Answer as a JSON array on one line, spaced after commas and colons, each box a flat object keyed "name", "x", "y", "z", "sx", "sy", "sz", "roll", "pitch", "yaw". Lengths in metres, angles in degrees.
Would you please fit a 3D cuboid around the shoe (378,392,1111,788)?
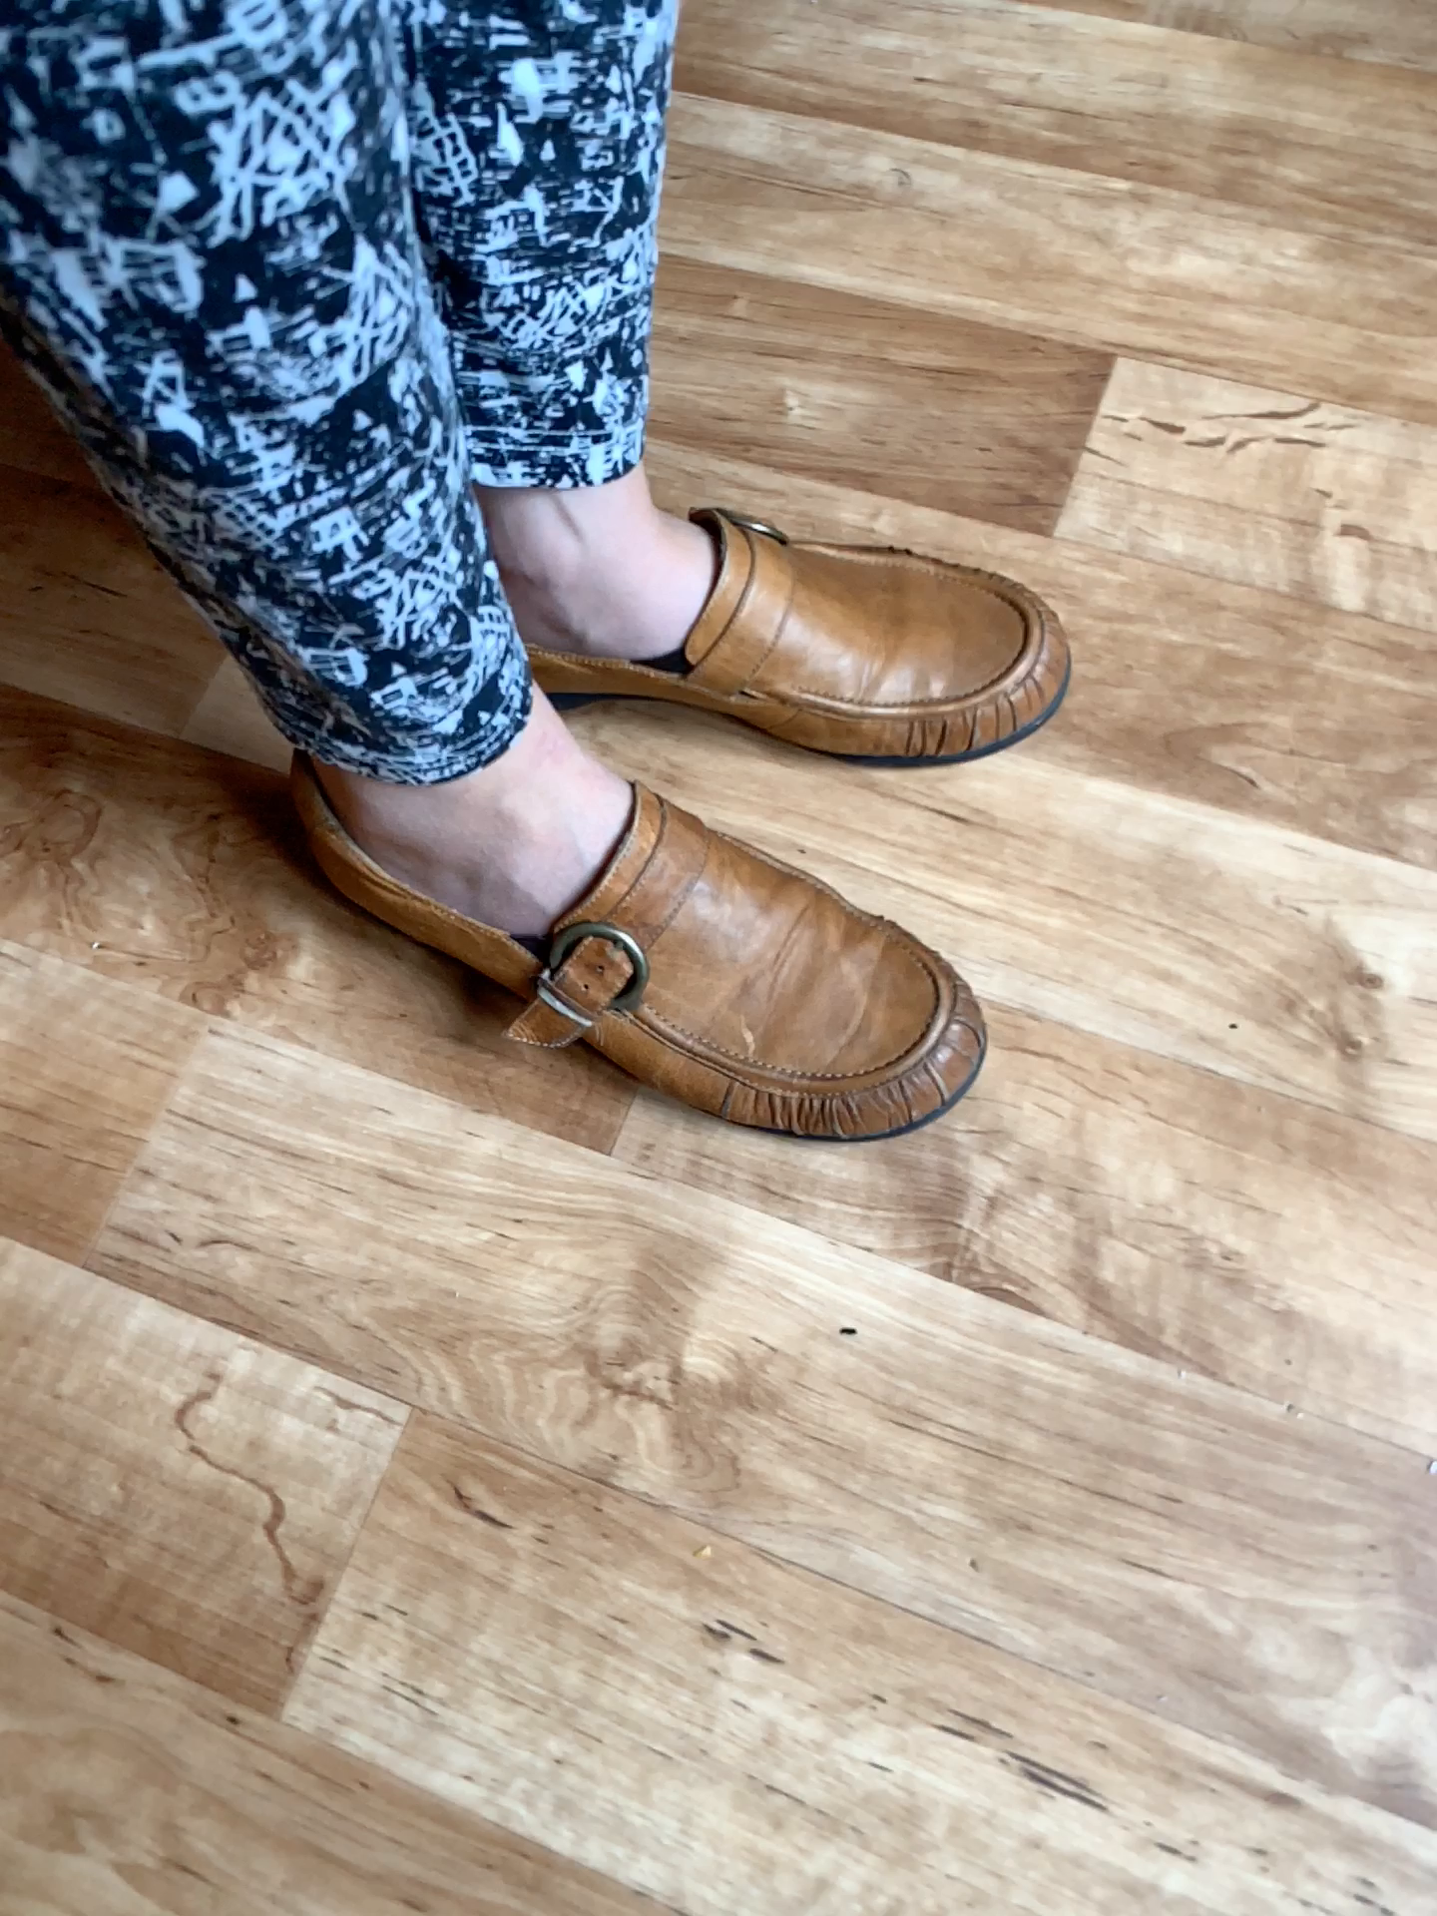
[{"name": "shoe", "x": 0.010, "y": -0.106, "z": 0.425, "sx": 0.190, "sy": 0.070, "sz": 0.080, "roll": 3, "pitch": 67, "yaw": 6}]

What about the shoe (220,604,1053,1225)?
[{"name": "shoe", "x": -0.020, "y": -0.012, "z": 0.391, "sx": 0.190, "sy": 0.070, "sz": 0.080, "roll": 23, "pitch": 71, "yaw": 13}]
